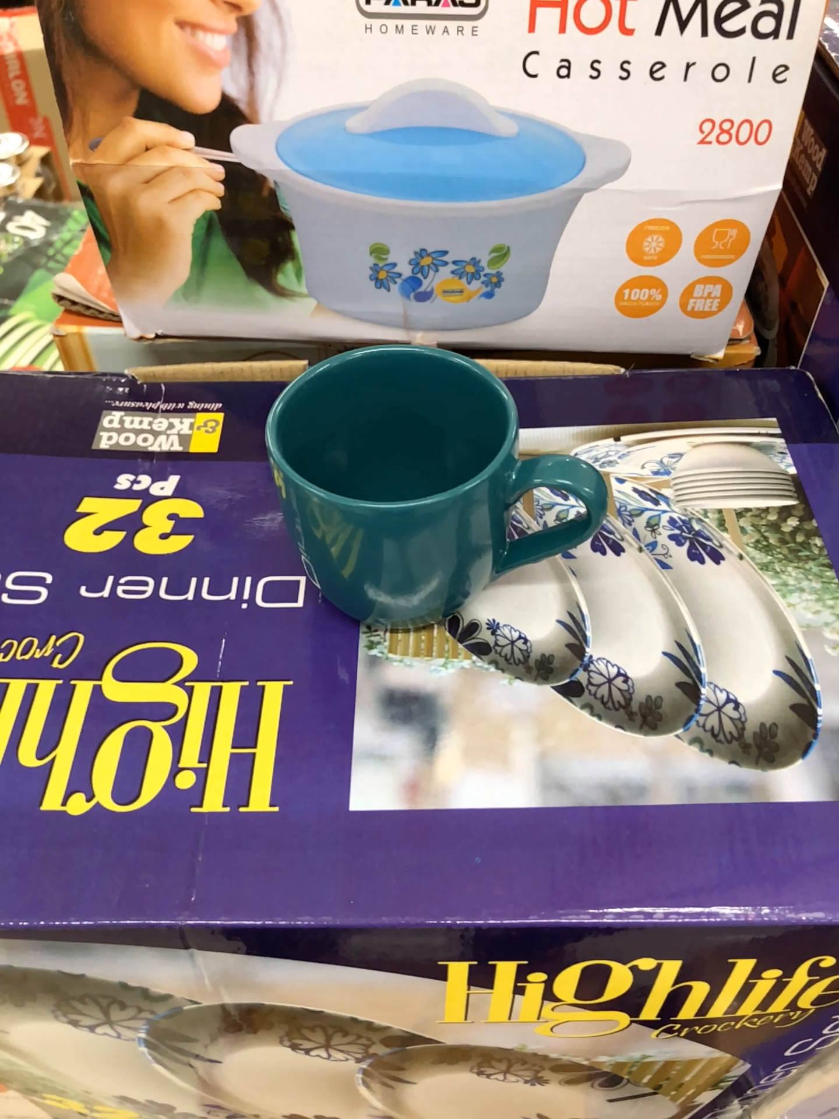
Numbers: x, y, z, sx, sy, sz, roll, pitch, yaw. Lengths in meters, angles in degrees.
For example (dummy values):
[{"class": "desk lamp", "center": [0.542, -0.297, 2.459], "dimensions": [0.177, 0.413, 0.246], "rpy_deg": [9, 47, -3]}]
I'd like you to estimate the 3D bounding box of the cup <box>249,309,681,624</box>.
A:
[{"class": "cup", "center": [0.009, -0.024, 0.233], "dimensions": [0.090, 0.050, 0.060], "rpy_deg": [0, 49, -1]}]
